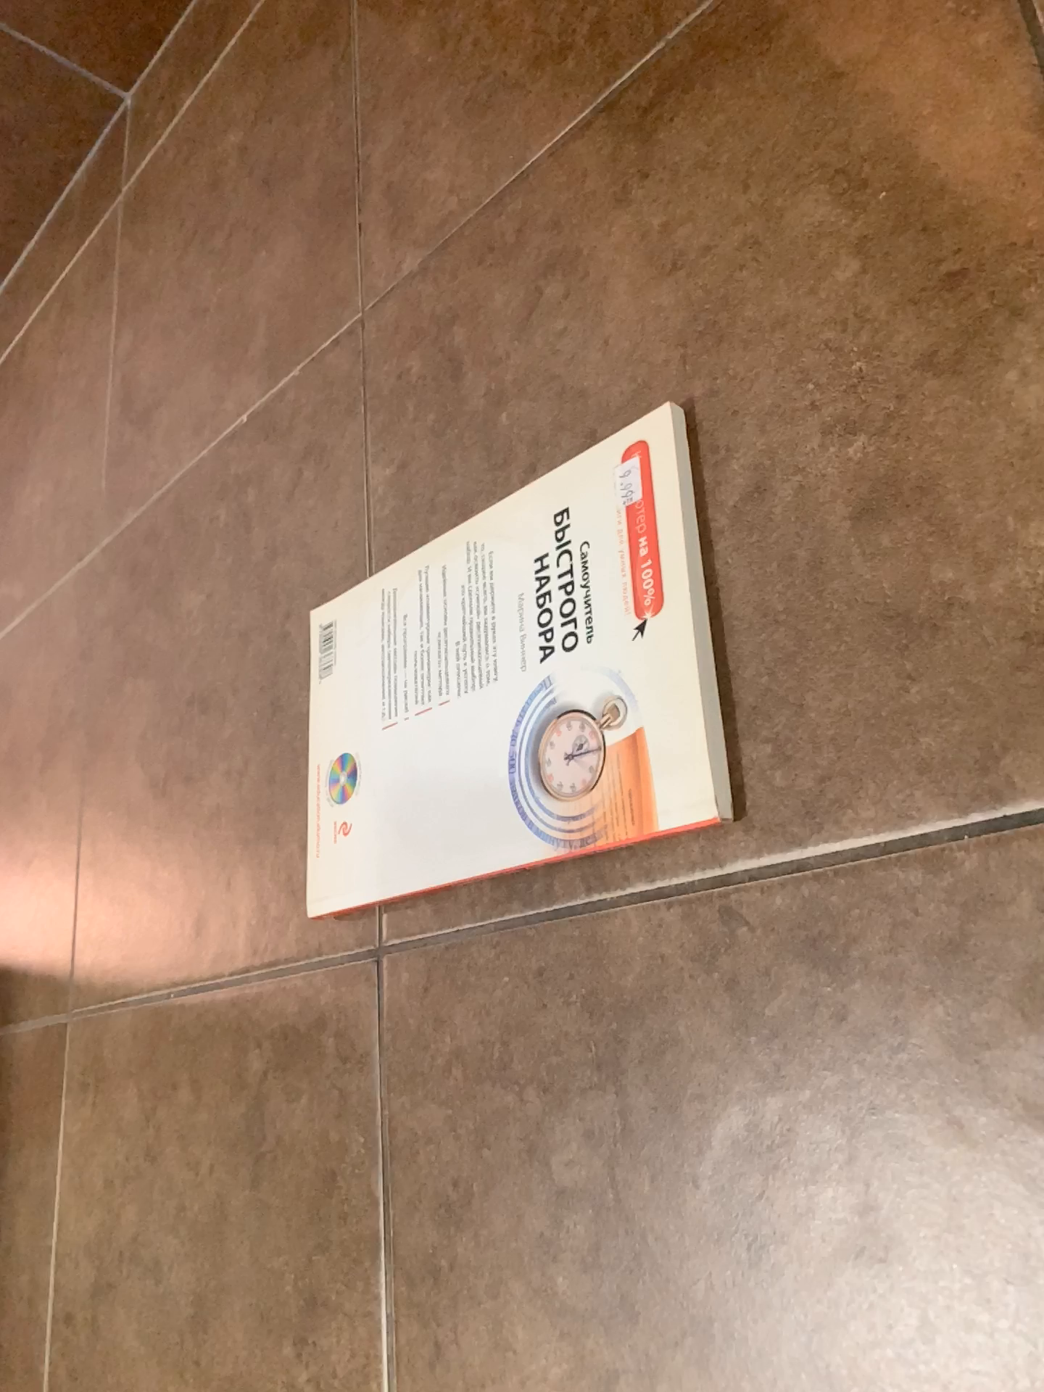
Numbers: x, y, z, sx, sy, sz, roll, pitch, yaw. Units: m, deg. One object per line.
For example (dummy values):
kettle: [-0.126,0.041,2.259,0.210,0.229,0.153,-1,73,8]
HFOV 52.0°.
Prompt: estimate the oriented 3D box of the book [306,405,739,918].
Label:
book: [-0.018,0.000,0.393,0.211,0.009,0.134,-21,65,43]
